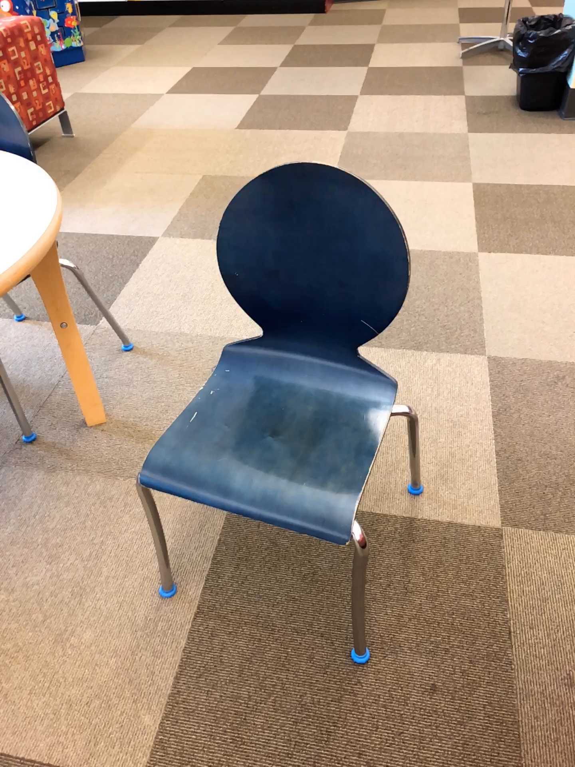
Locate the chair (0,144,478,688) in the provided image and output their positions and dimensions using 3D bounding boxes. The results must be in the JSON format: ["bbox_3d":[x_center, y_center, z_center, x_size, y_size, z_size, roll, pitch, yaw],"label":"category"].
[{"bbox_3d":[-0.016,0.048,1.075,0.497,0.698,0.475,12,43,18],"label":"chair"}]
